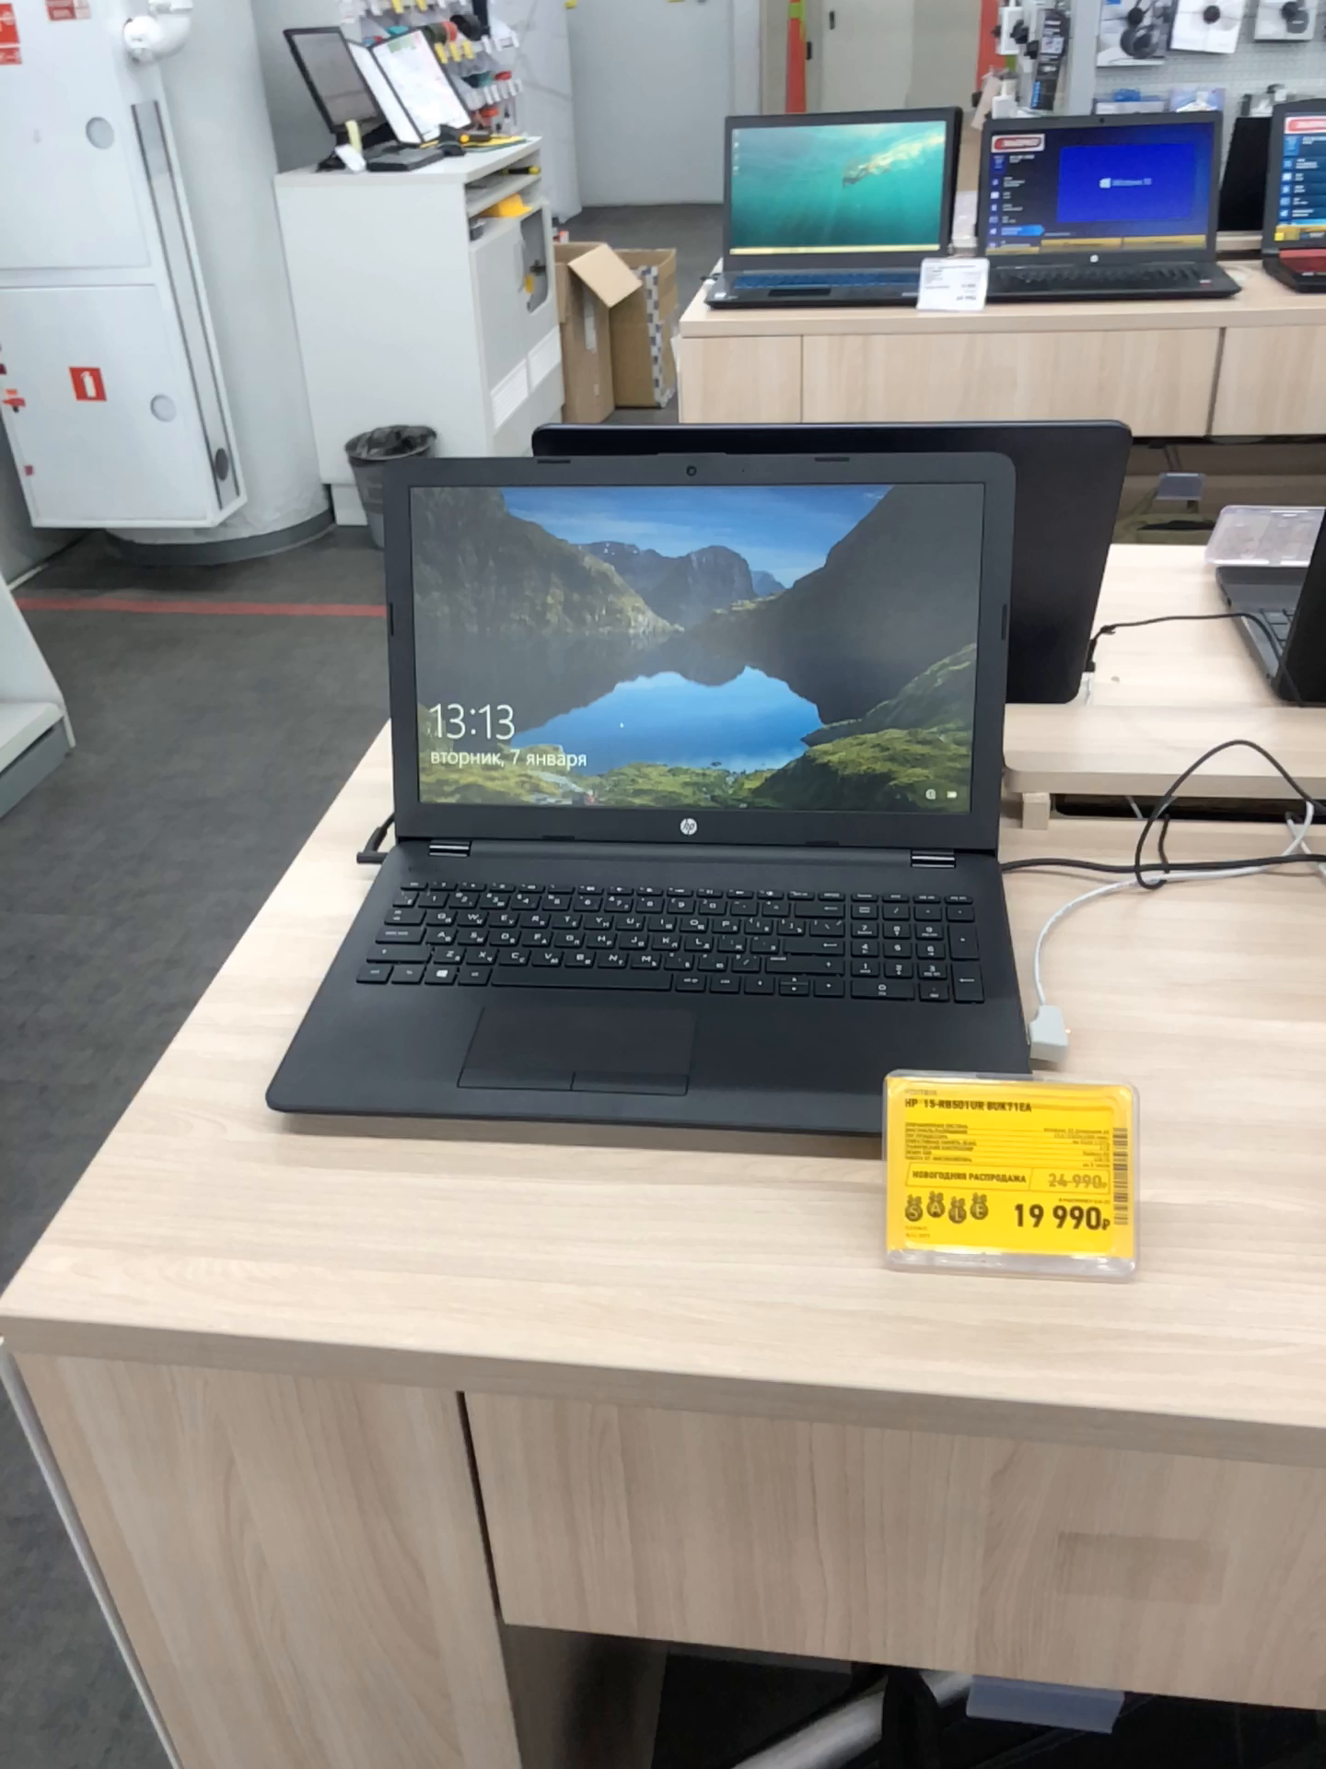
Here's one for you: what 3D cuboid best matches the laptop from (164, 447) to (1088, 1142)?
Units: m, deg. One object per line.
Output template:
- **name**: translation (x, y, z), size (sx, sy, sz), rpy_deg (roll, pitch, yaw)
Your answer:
- **laptop**: translation (0.004, -0.074, 0.782), size (0.376, 0.217, 0.343), rpy_deg (2, 32, 8)
